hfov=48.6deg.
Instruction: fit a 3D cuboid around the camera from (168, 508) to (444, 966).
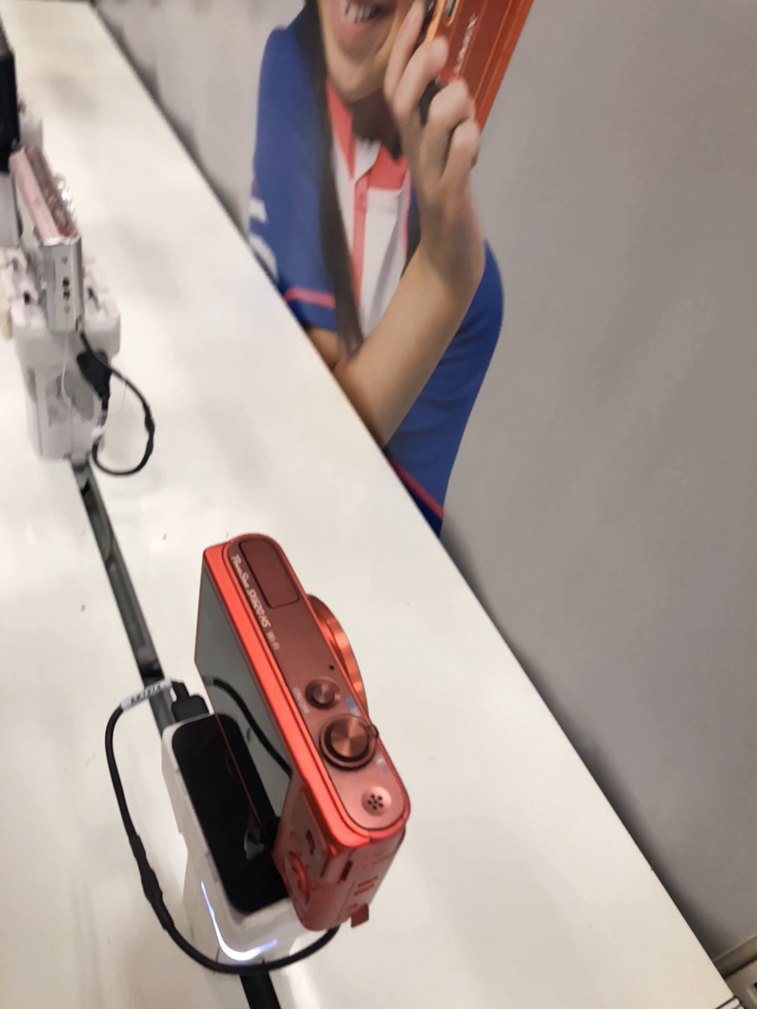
[{"bbox_3d":[-0.029,0.063,0.244,0.030,0.060,0.110,-13,51,-27],"label":"camera"}]
